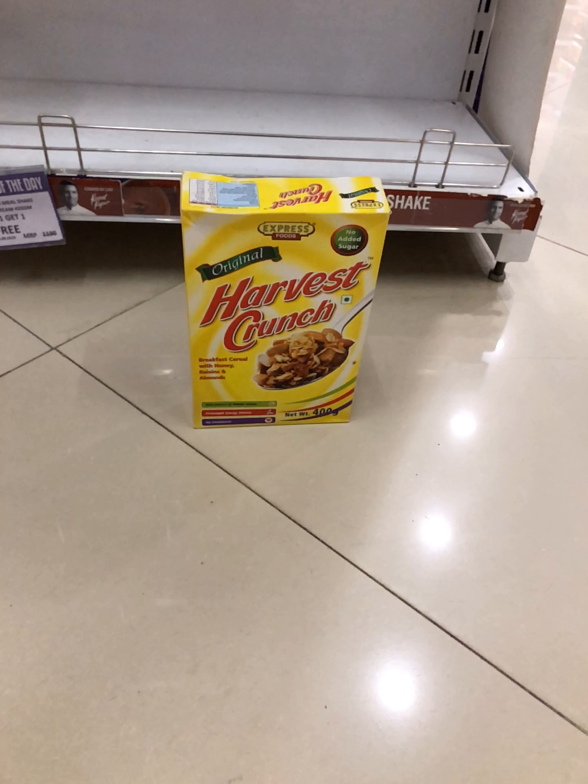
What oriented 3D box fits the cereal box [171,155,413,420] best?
[{"bbox_3d":[-0.010,-0.073,0.513,0.160,0.208,0.050,-2,43,-9],"label":"cereal box"}]
